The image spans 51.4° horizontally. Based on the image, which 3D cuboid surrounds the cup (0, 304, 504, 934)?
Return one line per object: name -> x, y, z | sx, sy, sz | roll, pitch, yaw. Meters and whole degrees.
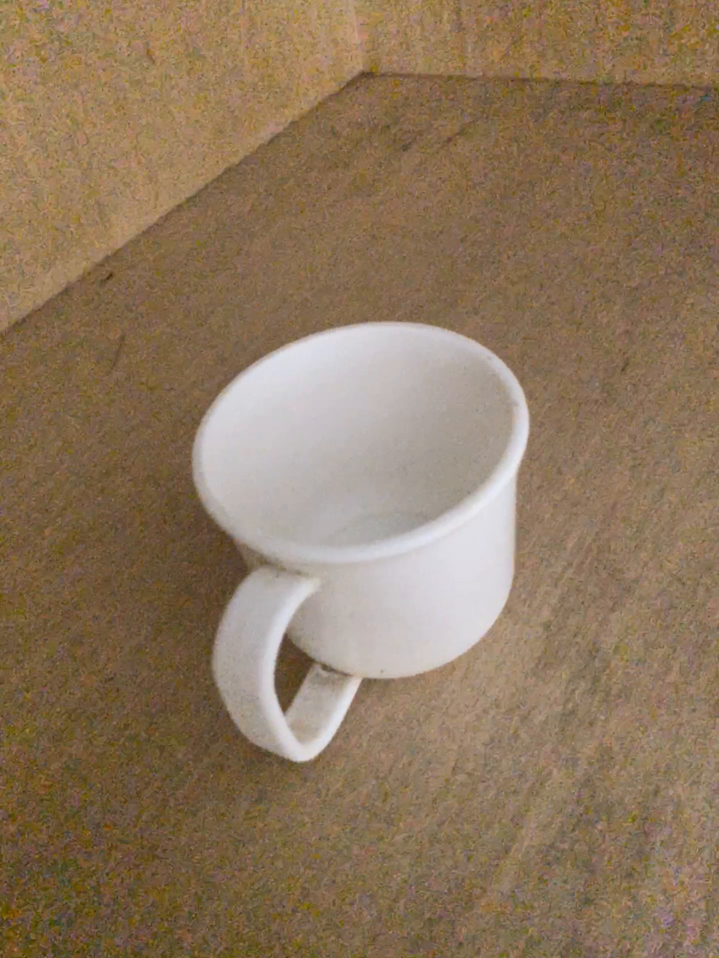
cup -> -0.022, 0.023, 0.177 | 0.080, 0.069, 0.111 | 11, 50, 23
